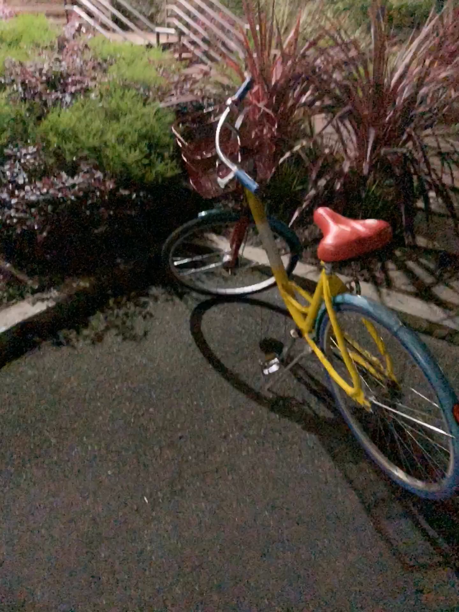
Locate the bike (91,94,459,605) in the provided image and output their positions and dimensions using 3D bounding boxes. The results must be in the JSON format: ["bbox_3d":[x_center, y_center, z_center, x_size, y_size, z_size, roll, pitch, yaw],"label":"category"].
[{"bbox_3d":[0.150,-0.074,1.688,0.600,1.085,1.590,-20,36,-30],"label":"bike"}]
